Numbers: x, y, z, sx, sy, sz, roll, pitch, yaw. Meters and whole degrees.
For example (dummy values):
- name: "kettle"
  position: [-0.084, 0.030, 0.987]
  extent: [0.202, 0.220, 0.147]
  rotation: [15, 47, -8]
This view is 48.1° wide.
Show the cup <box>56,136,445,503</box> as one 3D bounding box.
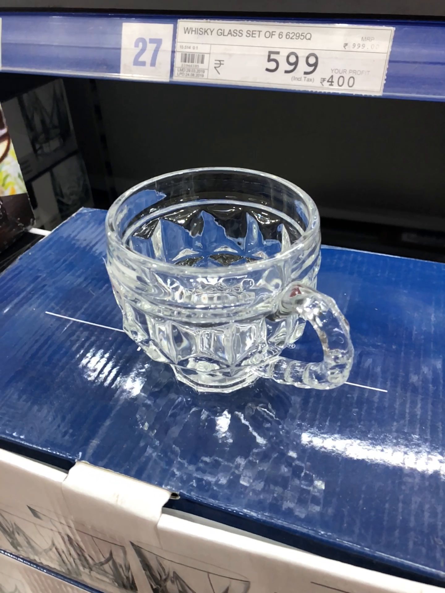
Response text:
- name: "cup"
  position: [0.009, -0.006, 0.187]
  extent: [0.090, 0.060, 0.110]
  rotation: [-27, 43, -28]
